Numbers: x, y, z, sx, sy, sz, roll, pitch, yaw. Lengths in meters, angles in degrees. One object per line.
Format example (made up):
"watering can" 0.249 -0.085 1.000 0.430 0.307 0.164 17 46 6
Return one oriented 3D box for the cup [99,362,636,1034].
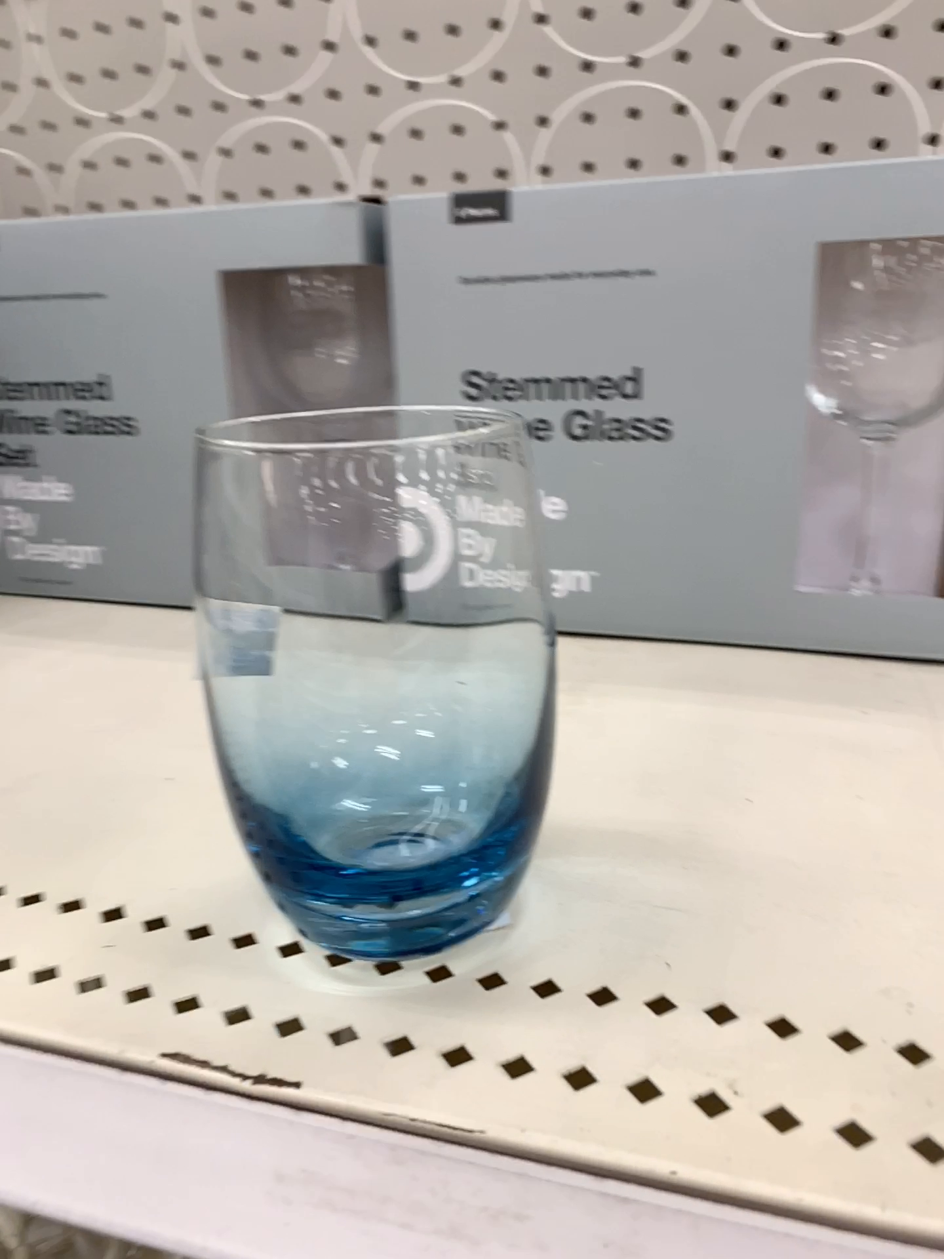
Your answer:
"cup" -0.020 0.006 0.225 0.090 0.120 0.090 -3 19 1
